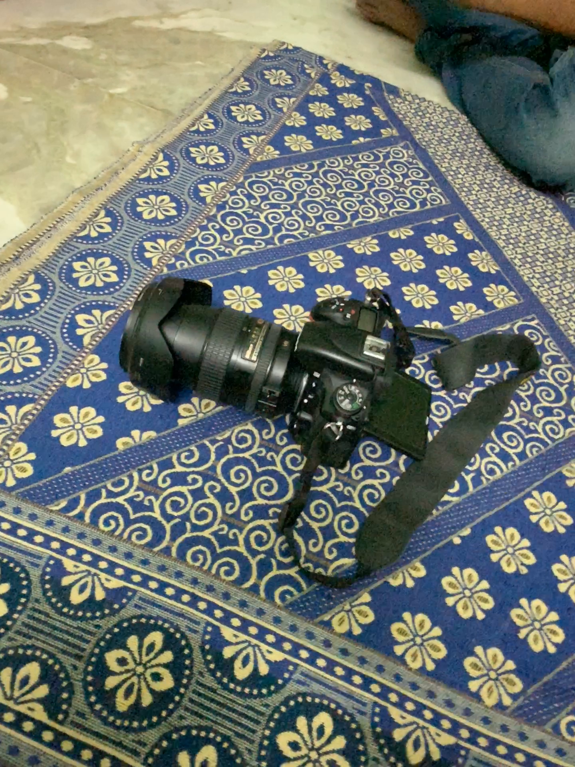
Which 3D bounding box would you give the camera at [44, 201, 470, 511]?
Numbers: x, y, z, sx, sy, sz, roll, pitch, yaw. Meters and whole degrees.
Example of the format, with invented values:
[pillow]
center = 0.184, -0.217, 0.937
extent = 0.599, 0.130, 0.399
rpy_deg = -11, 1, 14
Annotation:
[camera]
center = -0.017, -0.028, 0.527
extent = 0.320, 0.110, 0.160
rpy_deg = 17, 52, 2
